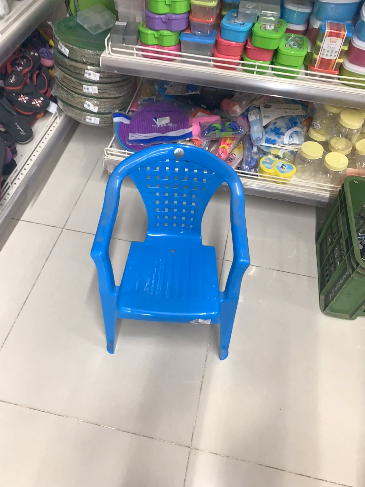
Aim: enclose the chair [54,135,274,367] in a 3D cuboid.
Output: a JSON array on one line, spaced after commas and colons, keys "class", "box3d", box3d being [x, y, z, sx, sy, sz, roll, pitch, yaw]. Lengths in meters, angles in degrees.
[{"class": "chair", "box3d": [-0.029, 0.049, 0.985, 0.400, 0.509, 0.361, 4, 54, 1]}]
